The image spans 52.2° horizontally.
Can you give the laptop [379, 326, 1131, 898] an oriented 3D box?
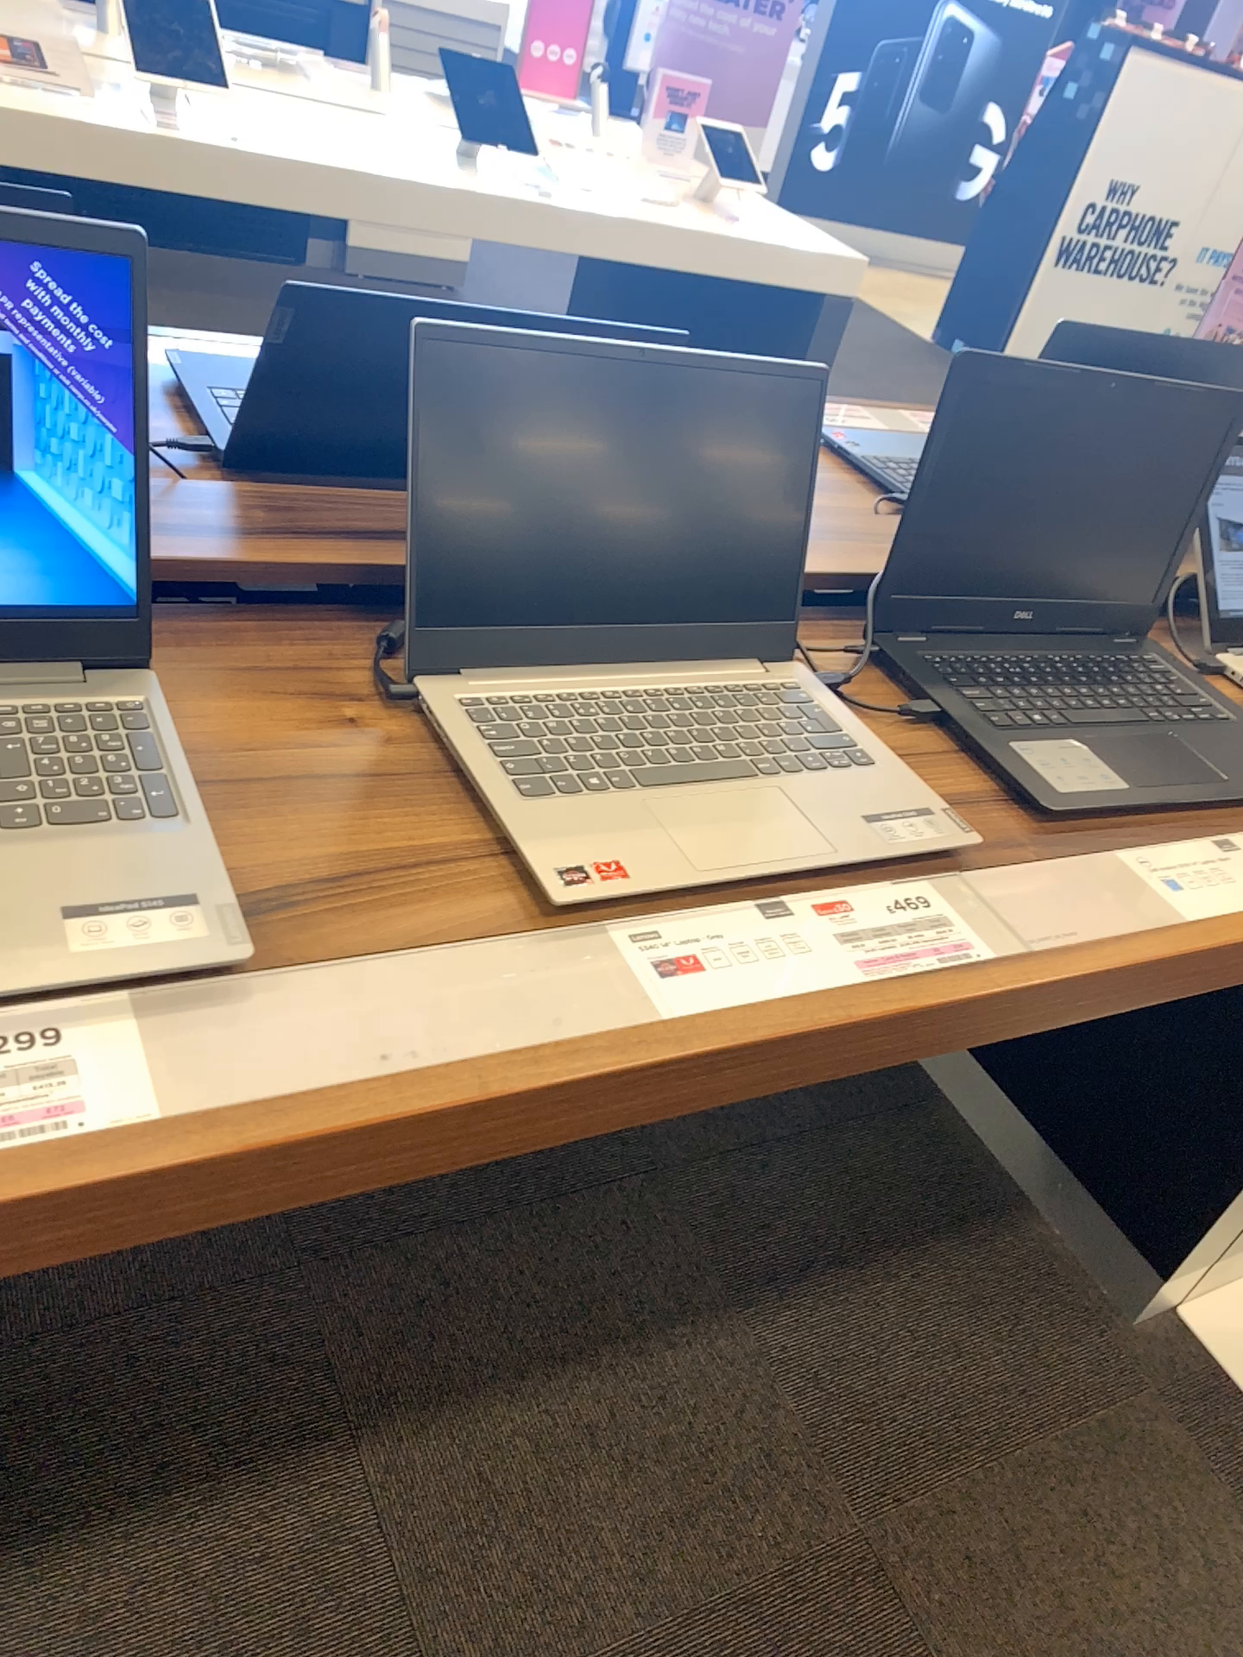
[{"bbox_3d":[0.062,-0.145,0.798,0.317,0.199,0.295,-6,41,-30],"label":"laptop"}]
